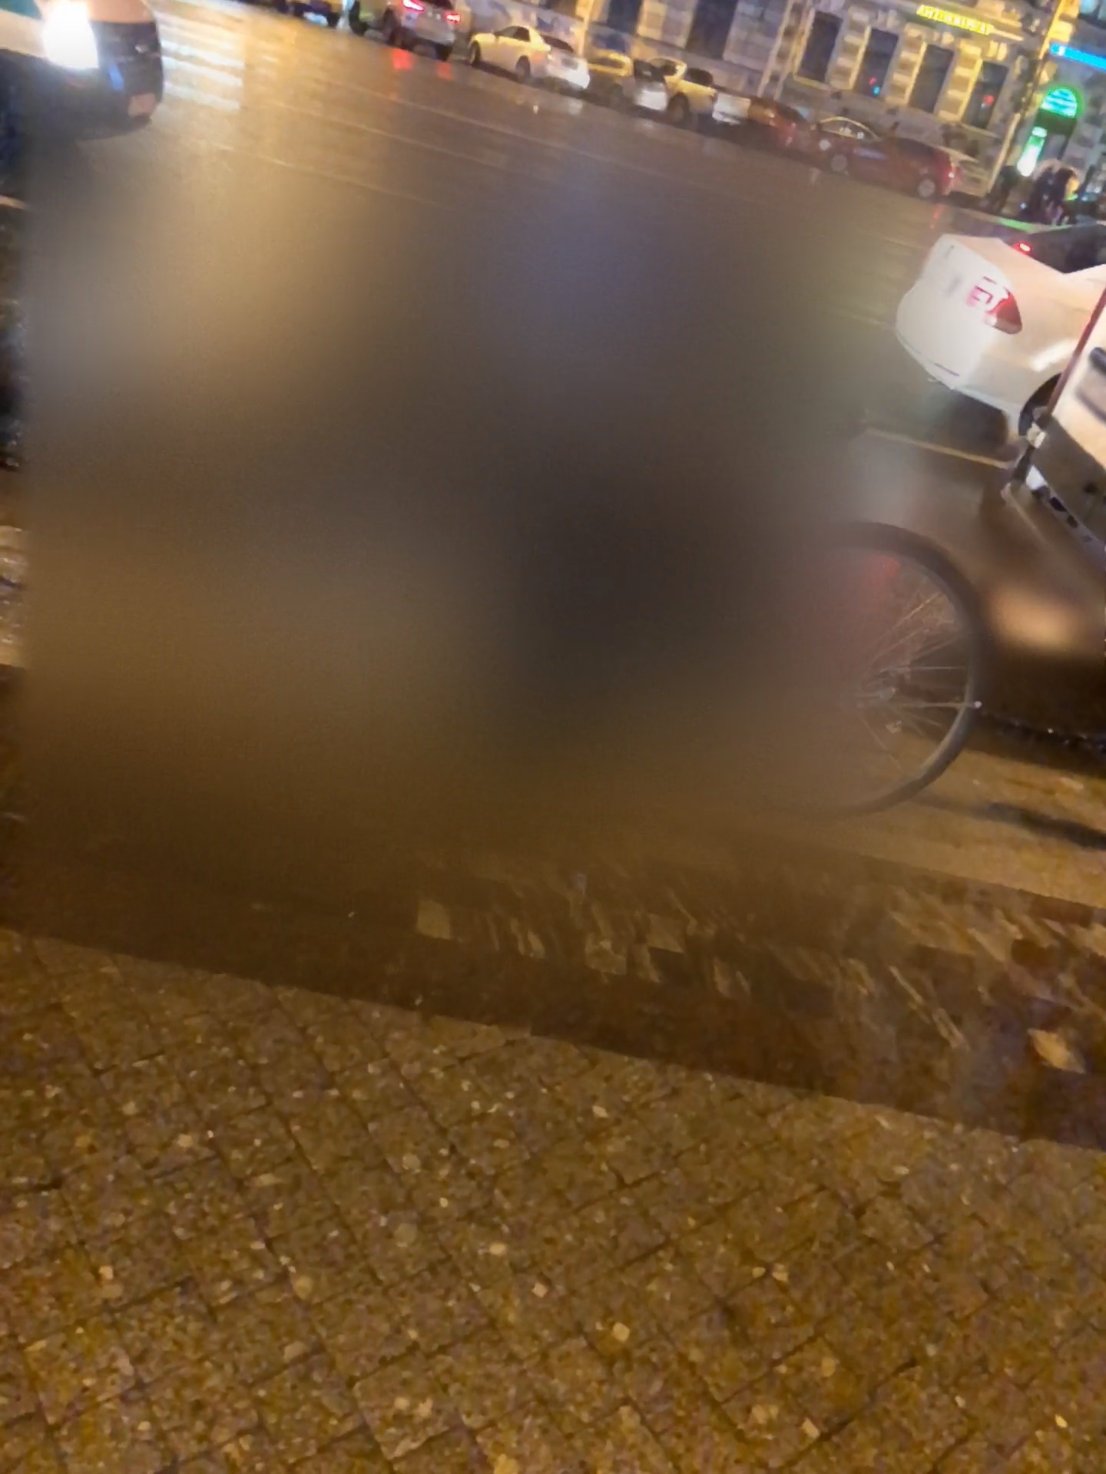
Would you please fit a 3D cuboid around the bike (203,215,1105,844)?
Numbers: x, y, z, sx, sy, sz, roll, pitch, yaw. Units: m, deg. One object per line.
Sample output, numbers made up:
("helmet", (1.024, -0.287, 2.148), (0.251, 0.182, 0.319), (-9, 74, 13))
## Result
("bike", (0.190, -0.480, 2.791), (1.748, 0.961, 0.556), (13, 27, -2))
